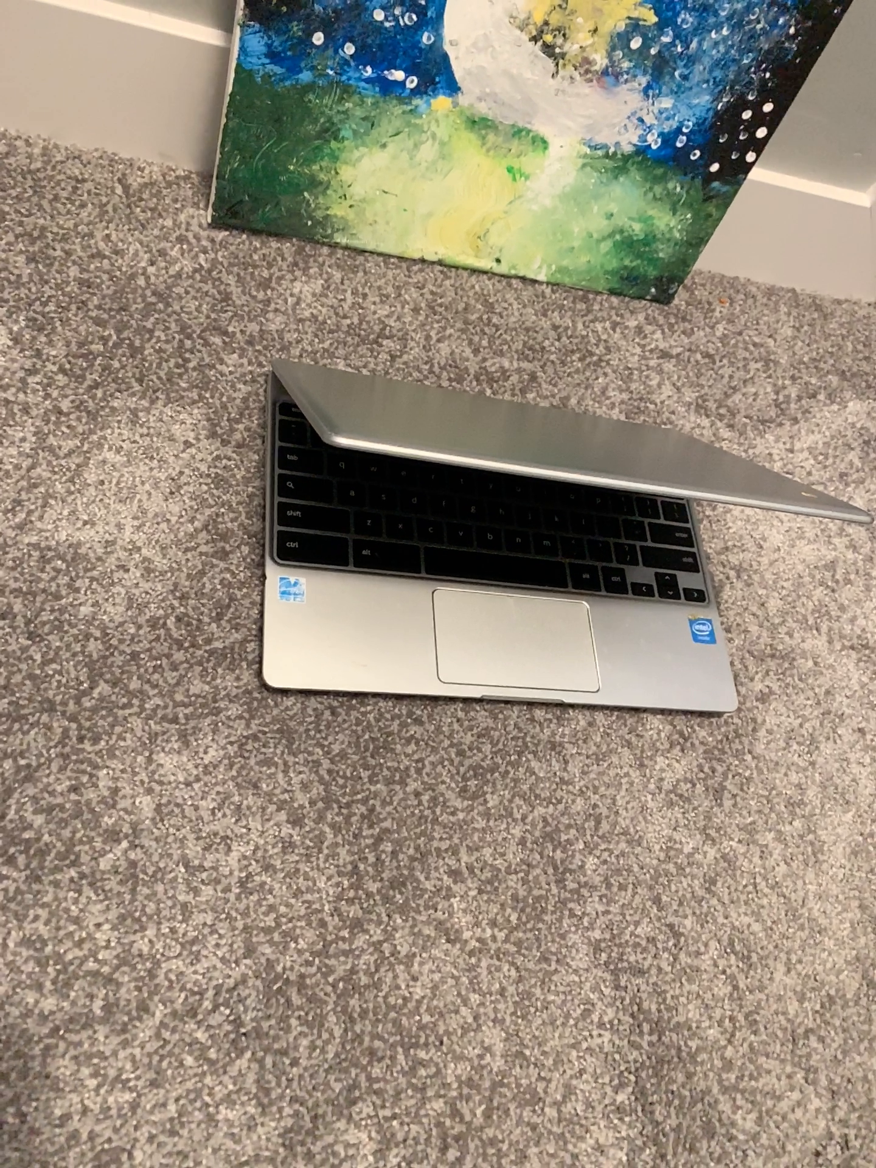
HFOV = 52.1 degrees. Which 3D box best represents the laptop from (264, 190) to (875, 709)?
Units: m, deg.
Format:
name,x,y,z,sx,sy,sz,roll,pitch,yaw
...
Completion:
name,x,y,z,sx,sy,sz,roll,pitch,yaw
laptop,0.066,-0.055,0.496,0.295,0.144,0.200,6,63,-20
